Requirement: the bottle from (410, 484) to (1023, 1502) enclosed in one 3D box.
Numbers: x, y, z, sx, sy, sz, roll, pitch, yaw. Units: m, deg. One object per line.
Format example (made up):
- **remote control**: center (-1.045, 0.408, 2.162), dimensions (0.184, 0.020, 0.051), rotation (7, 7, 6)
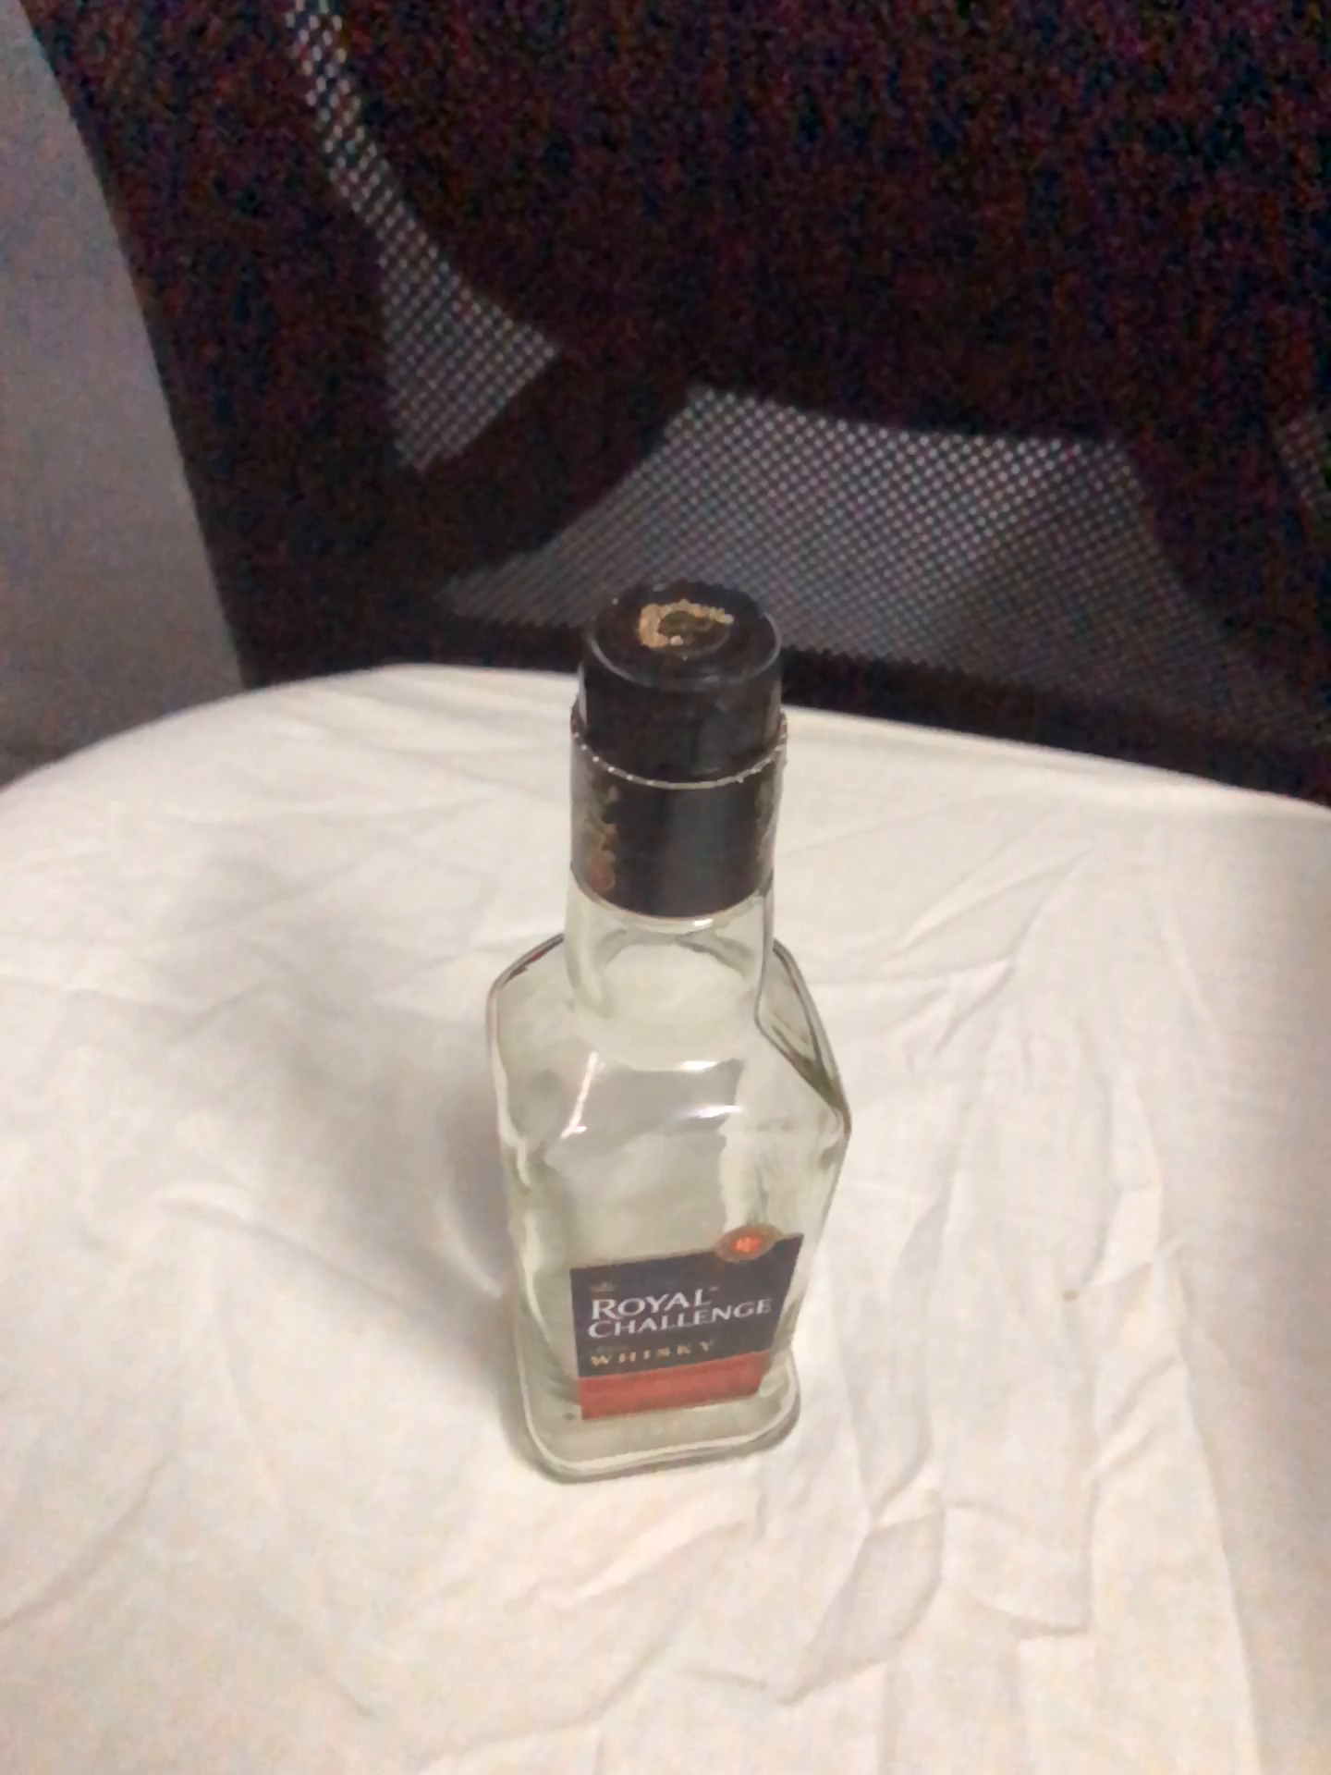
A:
- **bottle**: center (0.000, 0.034, 0.261), dimensions (0.070, 0.199, 0.050), rotation (-6, 45, -10)
